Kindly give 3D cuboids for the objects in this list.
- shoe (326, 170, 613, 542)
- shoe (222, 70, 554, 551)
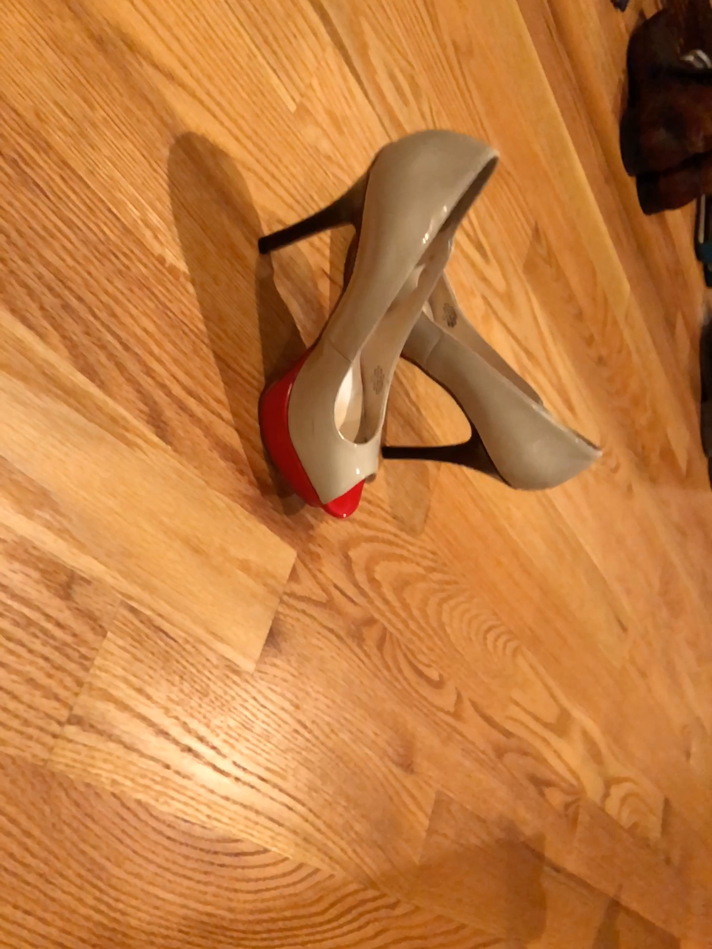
[{"bbox_3d":[0.079,-0.071,0.541,0.080,0.149,0.220,-18,102,-53],"label":"shoe"},{"bbox_3d":[0.019,-0.074,0.426,0.085,0.129,0.215,-15,99,-54],"label":"shoe"}]
